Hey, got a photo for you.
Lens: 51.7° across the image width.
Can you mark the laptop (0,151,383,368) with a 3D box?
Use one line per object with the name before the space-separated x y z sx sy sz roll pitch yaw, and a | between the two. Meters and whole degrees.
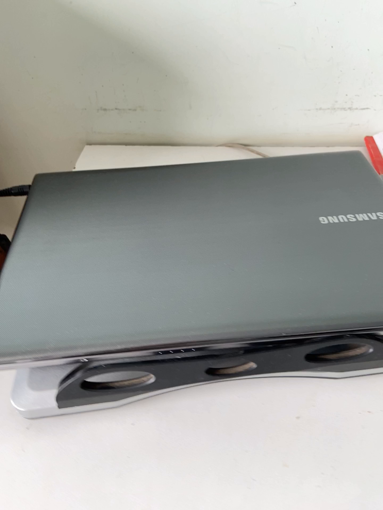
laptop | 0.019 -0.020 0.370 0.373 0.005 0.237 -5 44 -2
